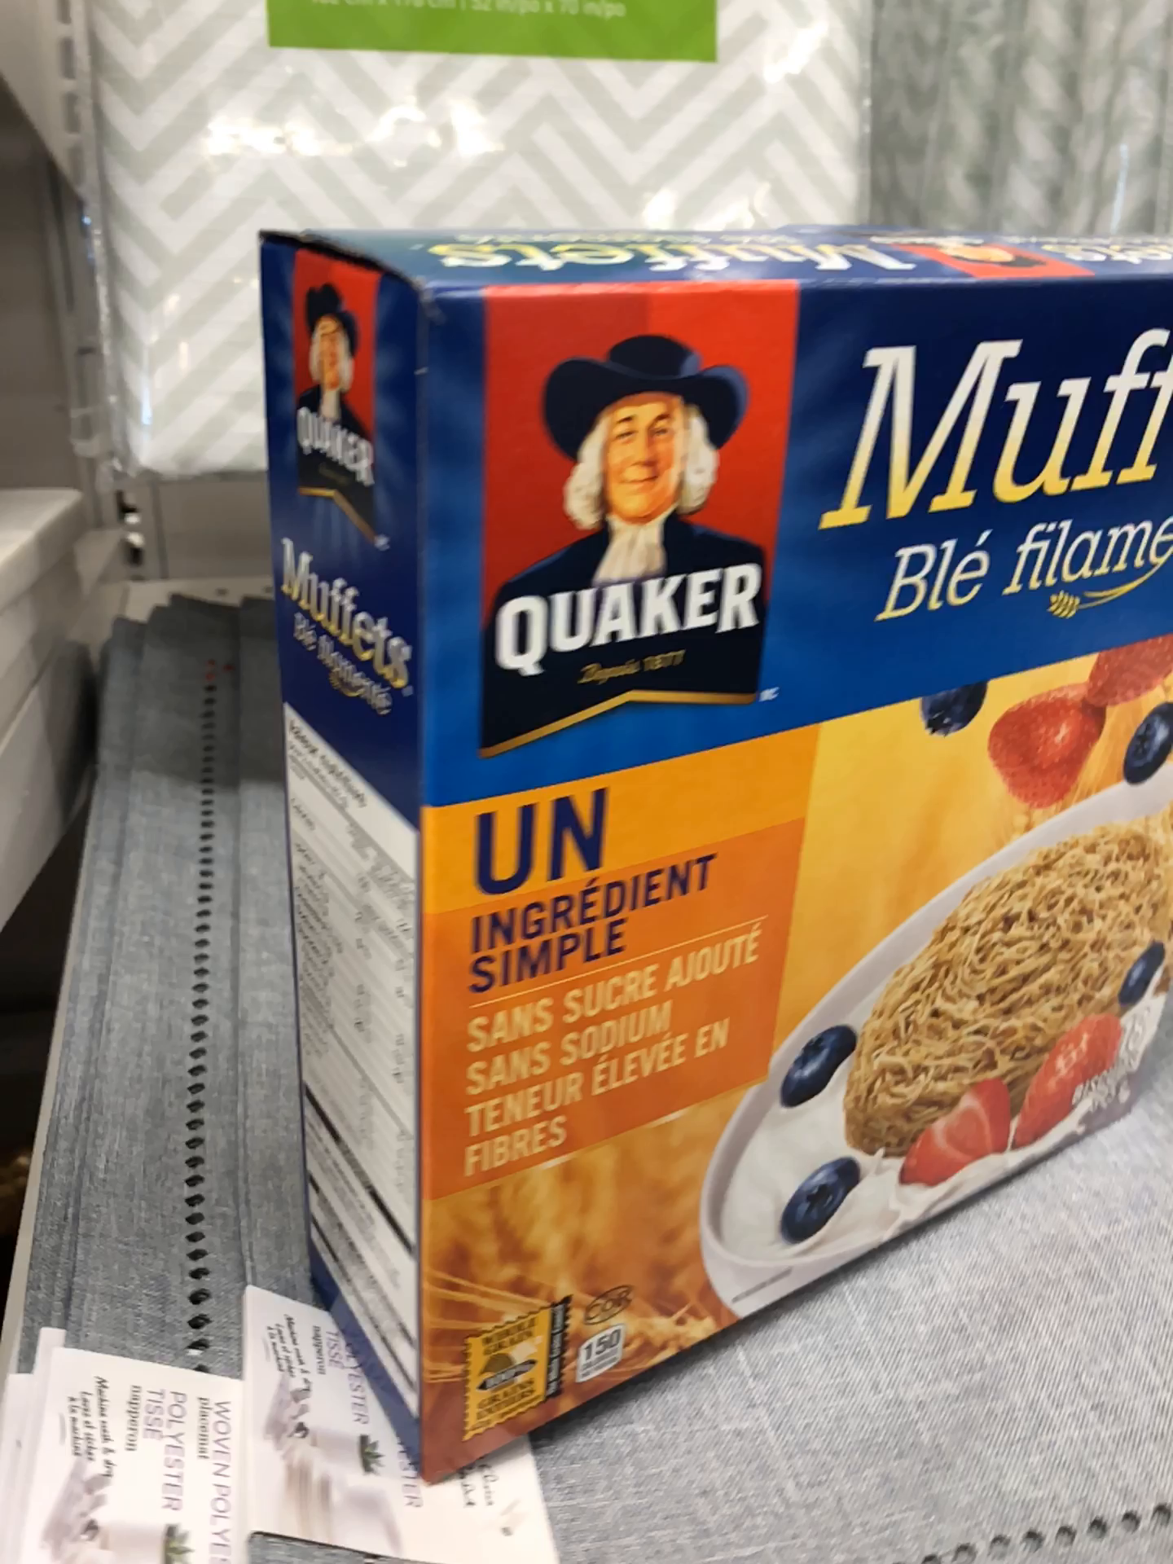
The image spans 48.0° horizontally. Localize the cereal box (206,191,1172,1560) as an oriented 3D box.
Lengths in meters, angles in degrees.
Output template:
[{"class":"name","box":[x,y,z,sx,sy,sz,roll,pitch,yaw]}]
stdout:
[{"class":"cereal box","box":[0.061,0.004,0.280,0.250,0.229,0.060,-13,30,-30]}]
